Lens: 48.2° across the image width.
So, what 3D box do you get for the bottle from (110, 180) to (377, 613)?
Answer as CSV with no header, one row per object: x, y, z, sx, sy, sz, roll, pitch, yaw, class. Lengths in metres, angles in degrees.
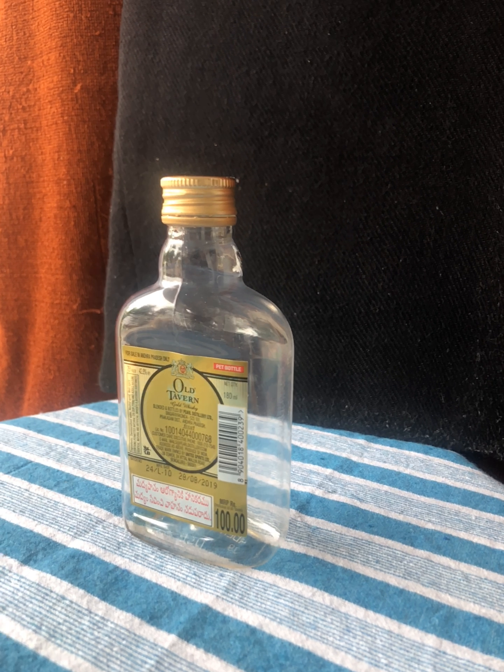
-0.004,0.016,0.207,0.080,0.140,0.040,9,17,25,bottle
